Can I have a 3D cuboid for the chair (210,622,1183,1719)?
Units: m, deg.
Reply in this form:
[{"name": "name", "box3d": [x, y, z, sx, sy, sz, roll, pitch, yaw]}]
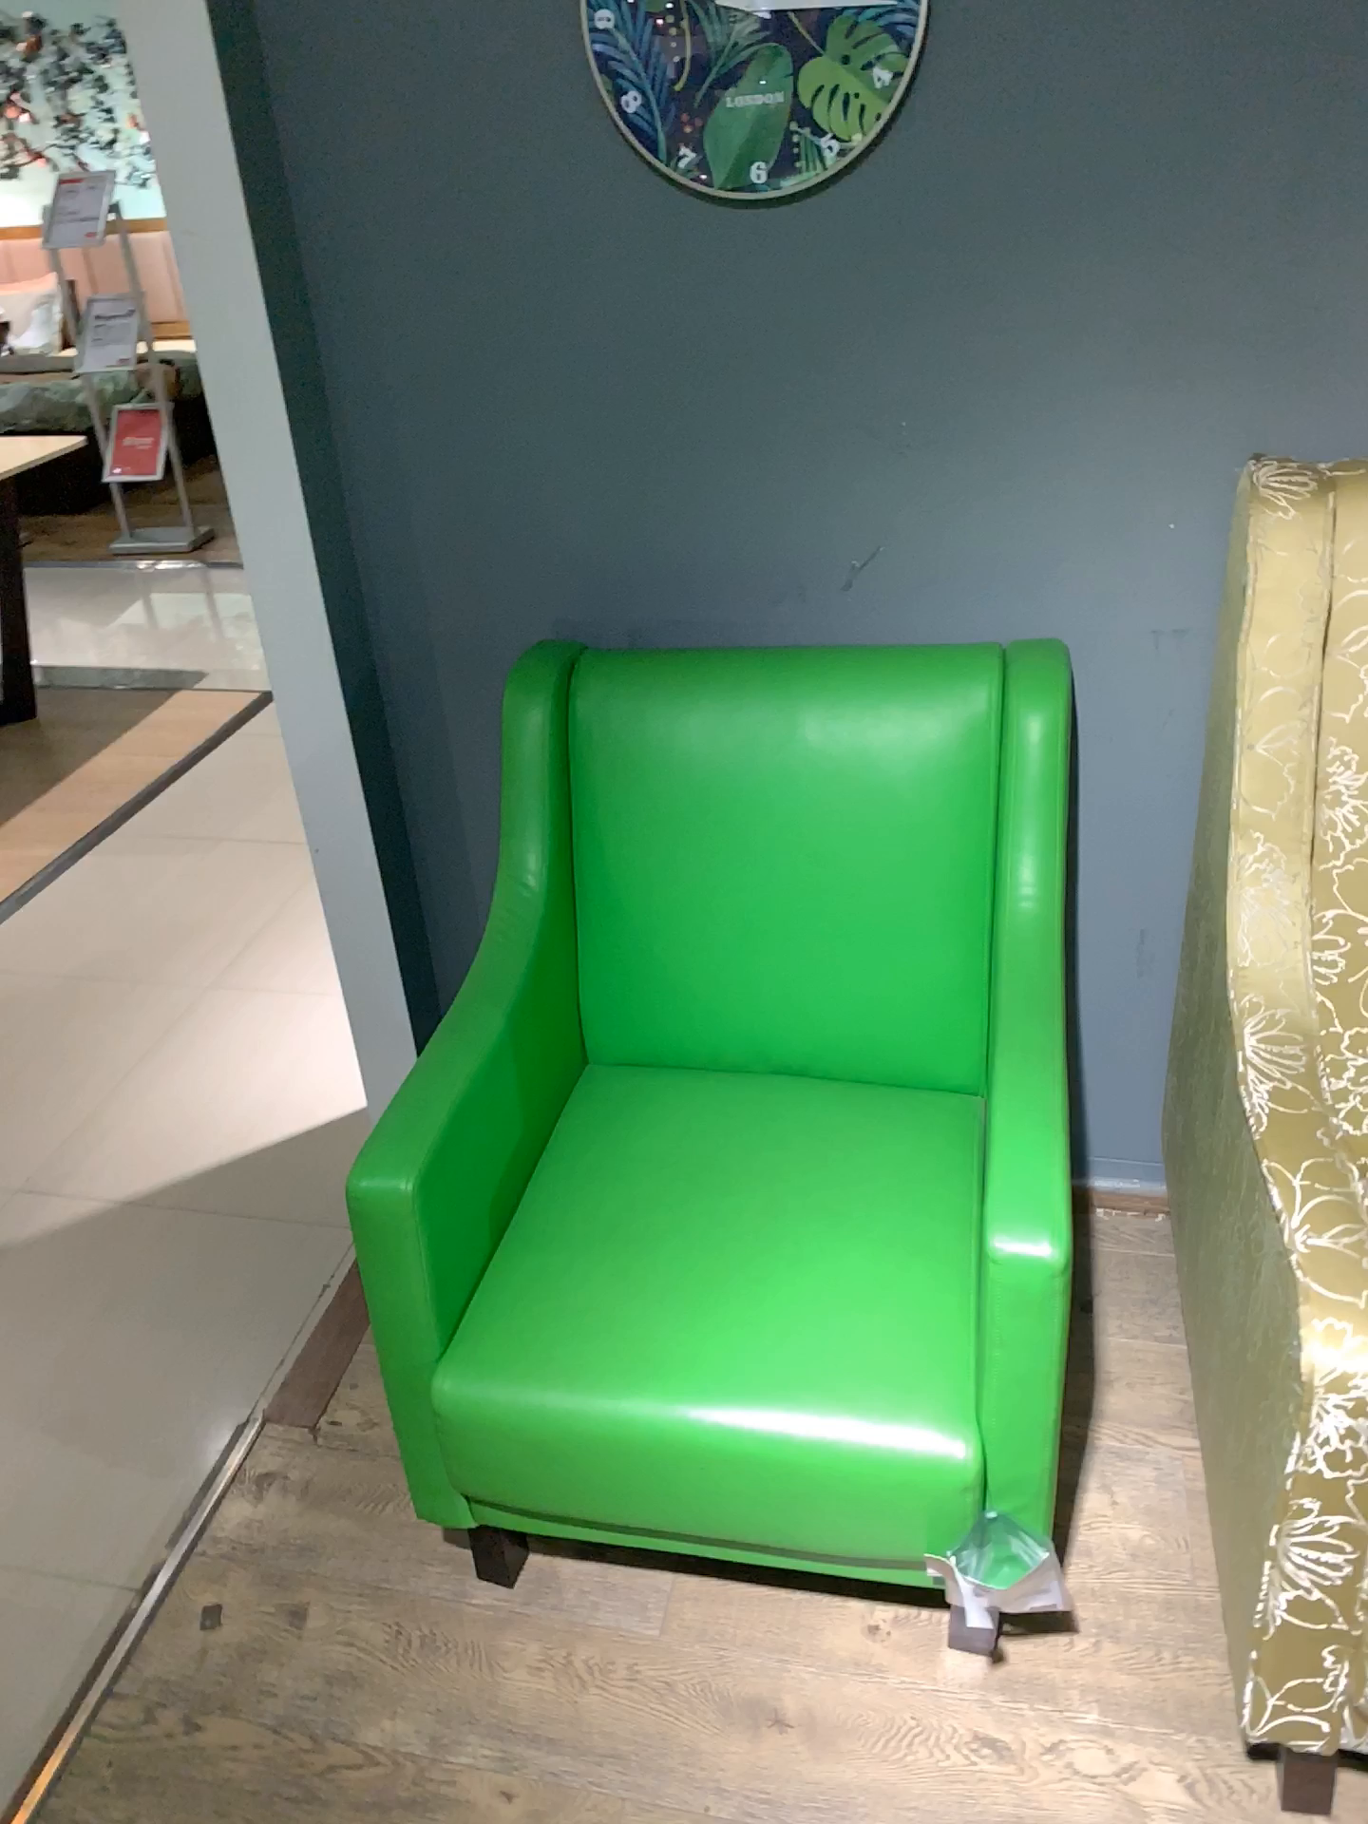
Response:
[{"name": "chair", "box3d": [0.092, 0.195, 1.528, 0.710, 0.787, 0.813, 3, 30, 12]}]
